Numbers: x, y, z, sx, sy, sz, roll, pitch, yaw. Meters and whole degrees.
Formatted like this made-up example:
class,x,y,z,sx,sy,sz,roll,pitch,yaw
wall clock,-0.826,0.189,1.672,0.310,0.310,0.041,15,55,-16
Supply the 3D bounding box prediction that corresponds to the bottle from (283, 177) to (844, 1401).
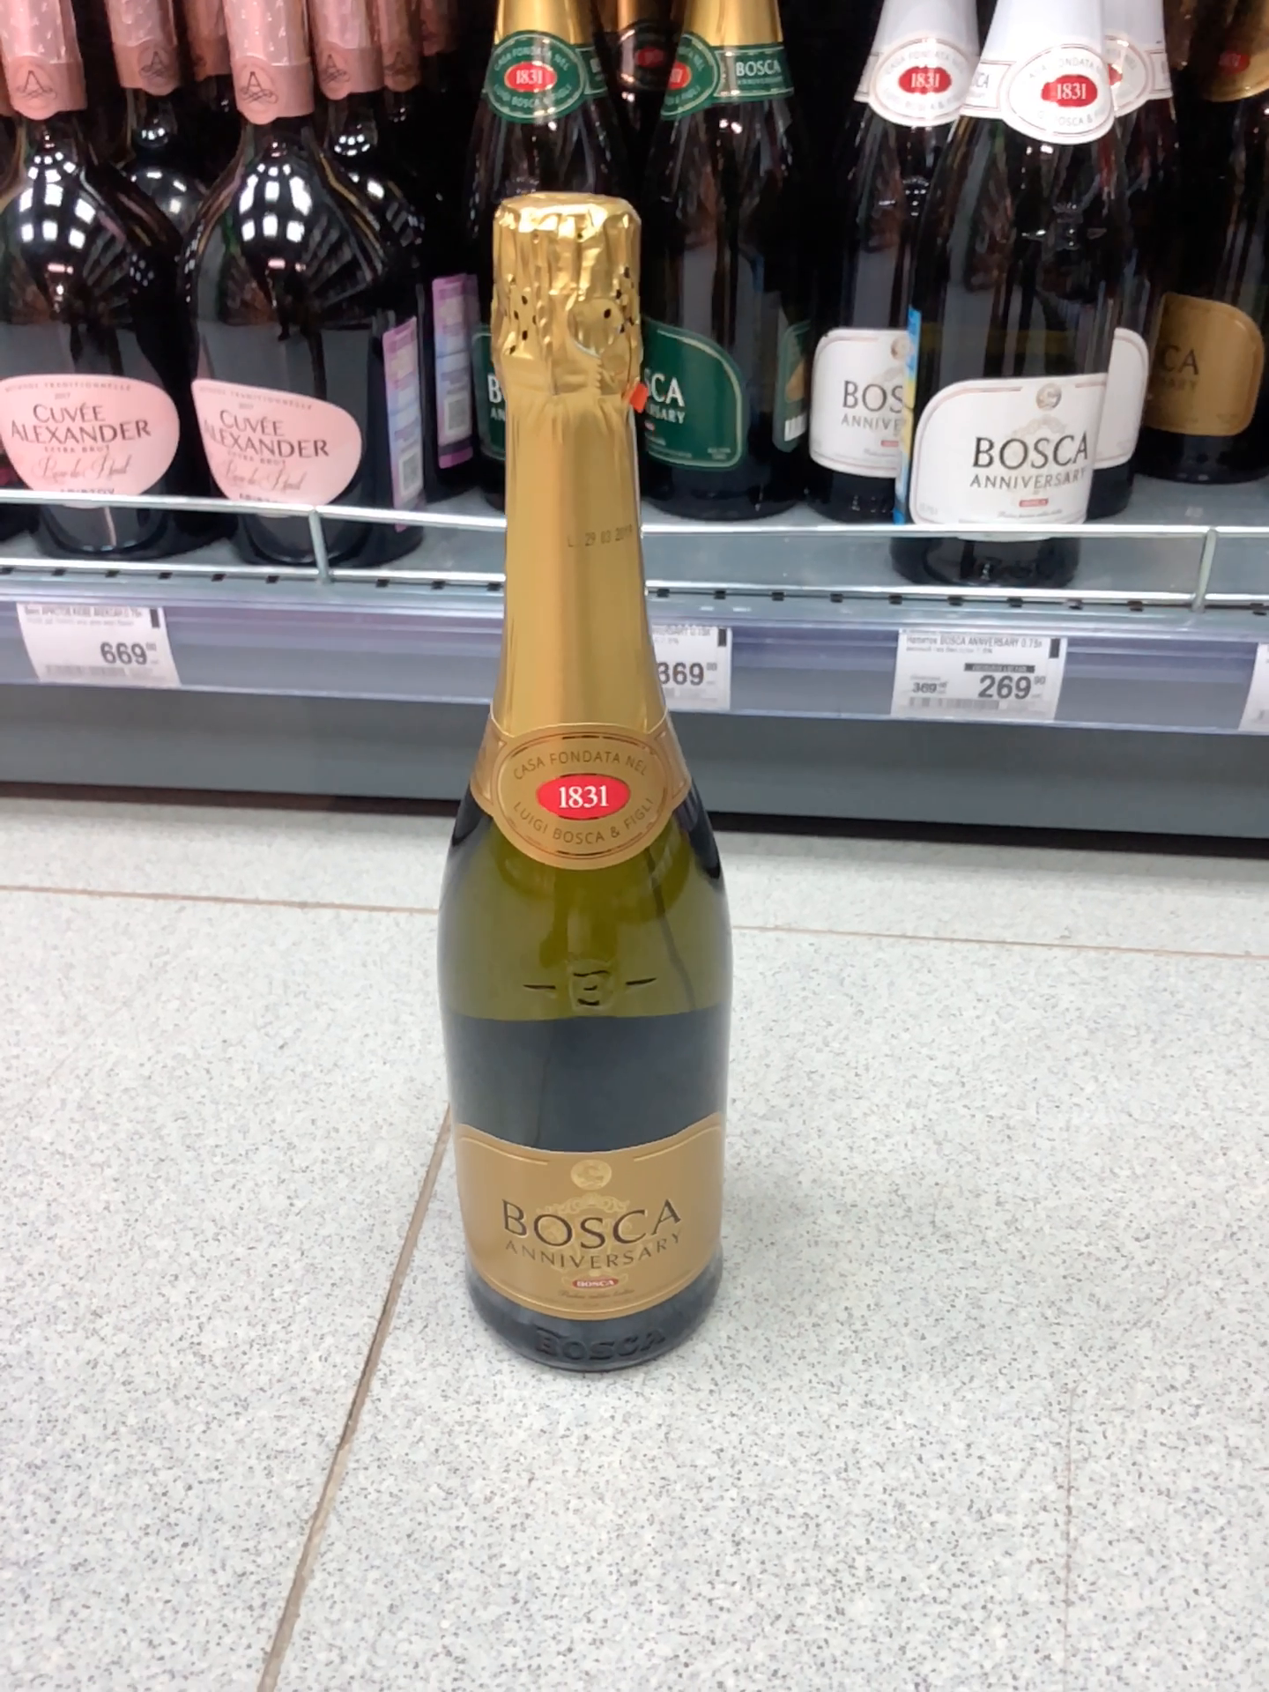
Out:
class,x,y,z,sx,sy,sz,roll,pitch,yaw
bottle,-0.010,0.001,0.373,0.100,0.314,0.101,-1,31,0
